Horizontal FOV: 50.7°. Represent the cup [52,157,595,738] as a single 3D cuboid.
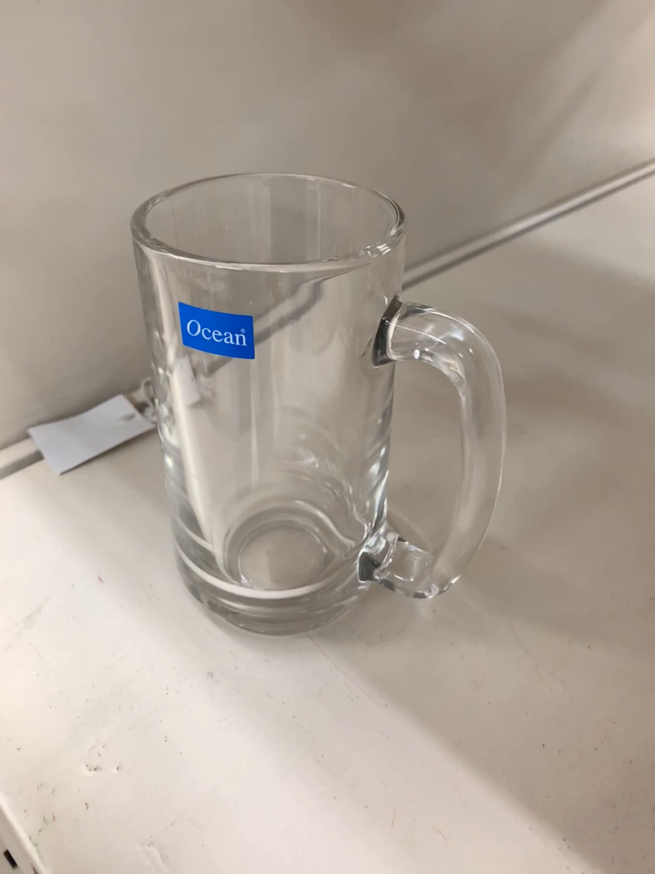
[{"bbox_3d":[0.001,-0.001,0.207,0.111,0.127,0.076,18,39,23],"label":"cup"}]
